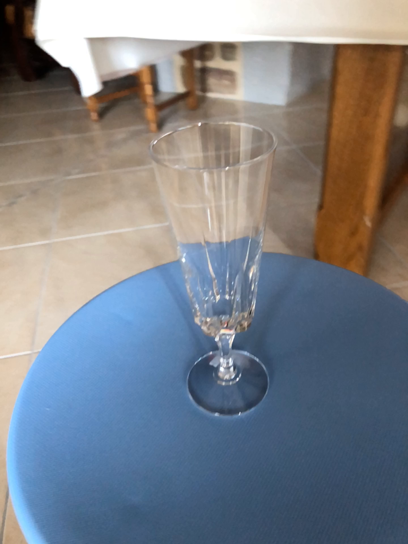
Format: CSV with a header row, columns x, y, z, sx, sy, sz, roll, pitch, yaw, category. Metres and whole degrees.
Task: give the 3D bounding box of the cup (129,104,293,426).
x,y,z,sx,sy,sz,roll,pitch,yaw,category
0.009,0.003,0.277,0.070,0.179,0.080,-4,36,2,cup
